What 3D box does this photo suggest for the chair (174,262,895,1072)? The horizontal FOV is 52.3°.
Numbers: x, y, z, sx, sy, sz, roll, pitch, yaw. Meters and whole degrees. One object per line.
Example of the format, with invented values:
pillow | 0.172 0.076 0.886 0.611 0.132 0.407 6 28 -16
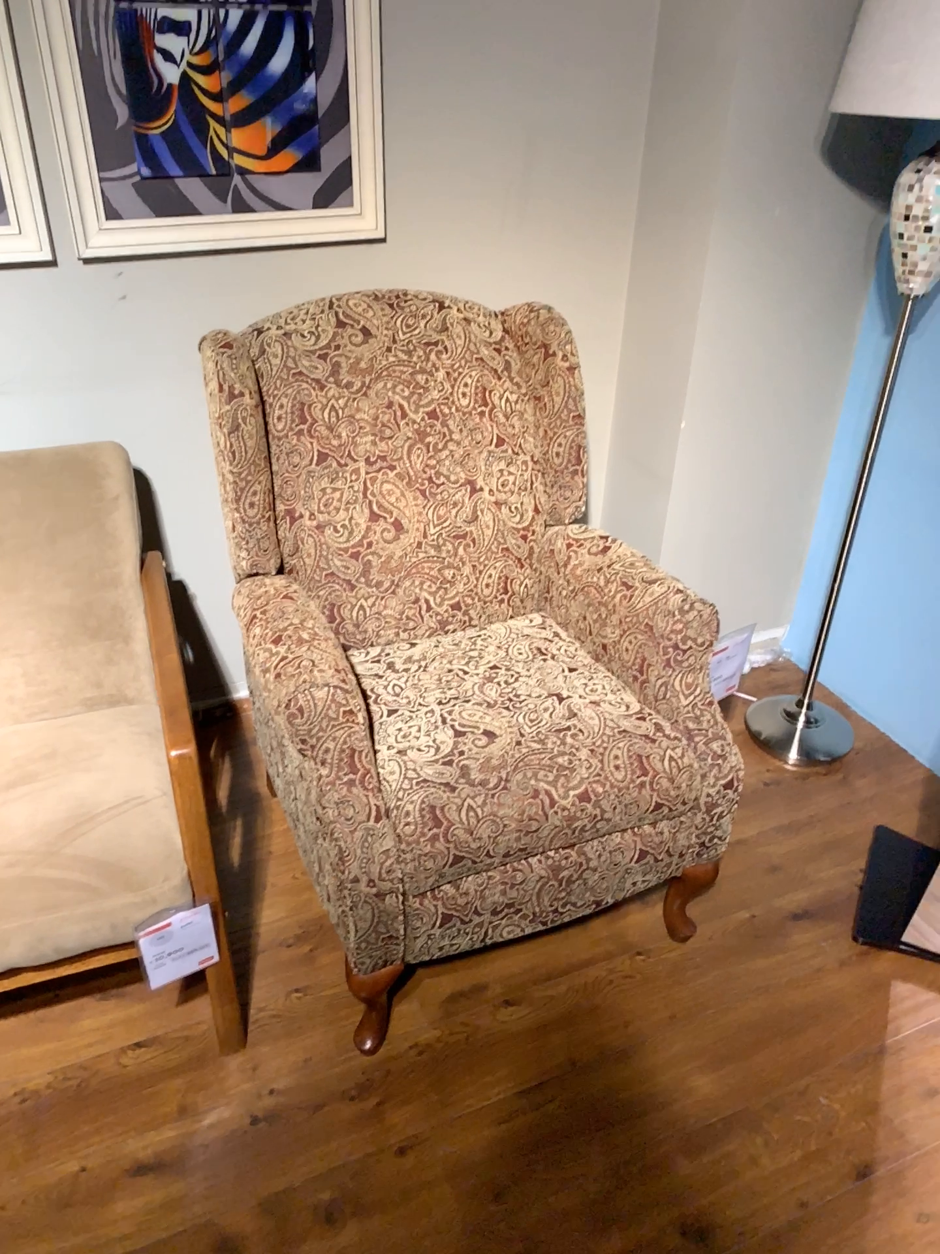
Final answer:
chair | 0.012 -0.008 1.588 0.750 0.956 0.763 -11 34 -20
